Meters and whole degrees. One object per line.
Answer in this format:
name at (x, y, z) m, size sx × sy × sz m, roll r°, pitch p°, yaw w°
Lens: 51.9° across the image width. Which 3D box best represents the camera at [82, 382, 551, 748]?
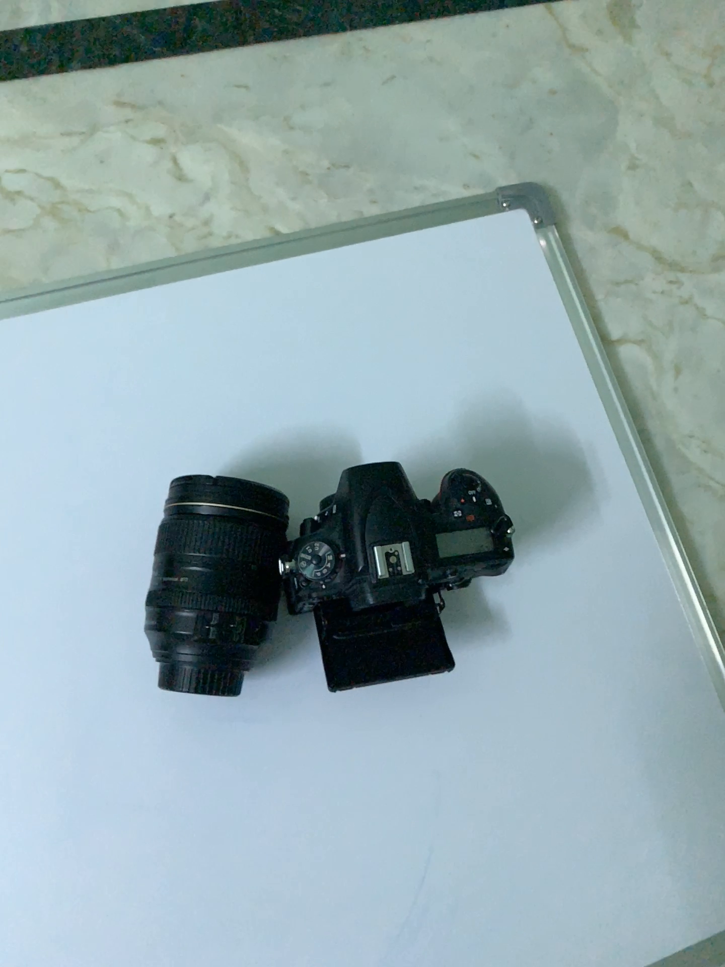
camera at (-0.031, 0.050, 0.479) m, size 0.240 × 0.100 × 0.160 m, roll -13°, pitch 78°, yaw -11°
